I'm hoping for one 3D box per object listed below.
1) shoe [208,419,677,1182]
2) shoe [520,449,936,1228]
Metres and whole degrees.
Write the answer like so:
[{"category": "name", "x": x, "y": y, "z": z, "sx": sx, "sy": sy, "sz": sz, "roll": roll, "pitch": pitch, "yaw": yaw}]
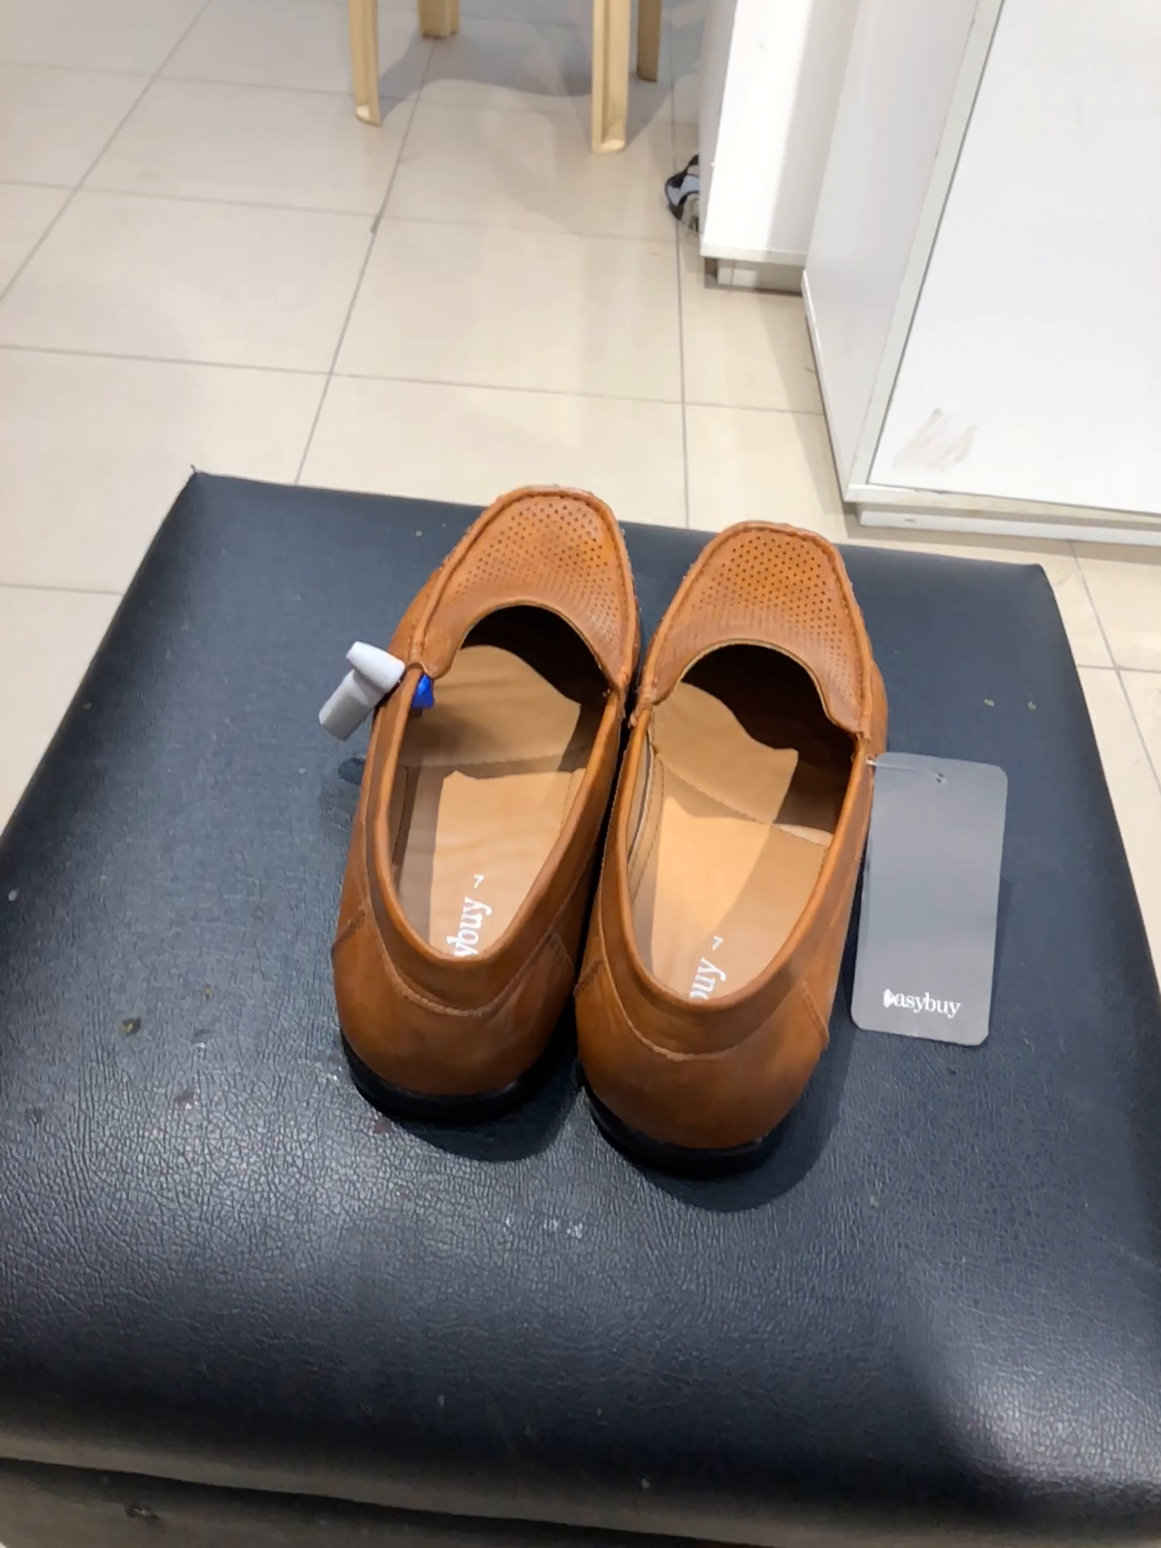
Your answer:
[{"category": "shoe", "x": -0.032, "y": -0.006, "z": 0.445, "sx": 0.097, "sy": 0.096, "sz": 0.254, "roll": 9, "pitch": 48, "yaw": 2}, {"category": "shoe", "x": 0.059, "y": 0.006, "z": 0.445, "sx": 0.097, "sy": 0.096, "sz": 0.254, "roll": 12, "pitch": 48, "yaw": 5}]
